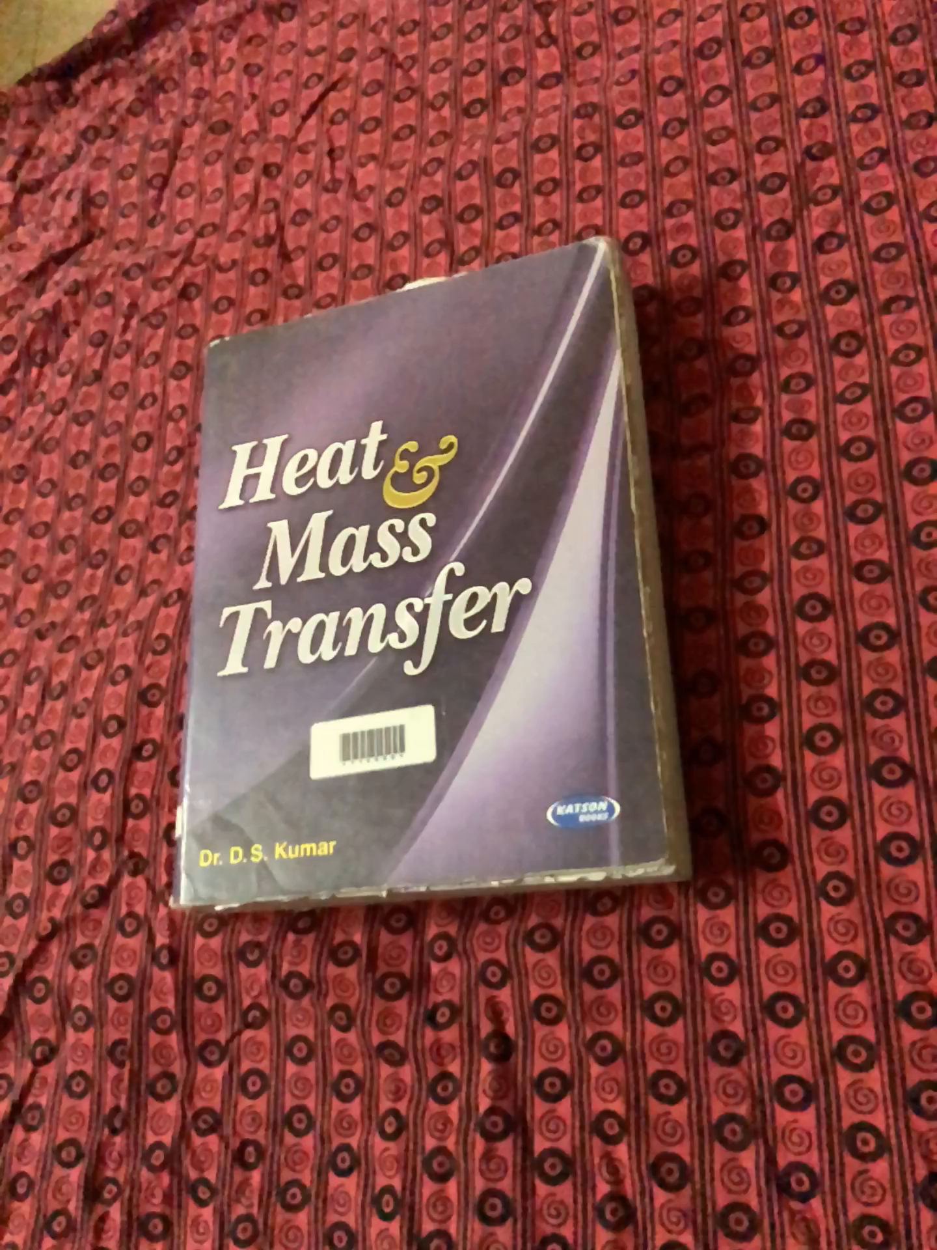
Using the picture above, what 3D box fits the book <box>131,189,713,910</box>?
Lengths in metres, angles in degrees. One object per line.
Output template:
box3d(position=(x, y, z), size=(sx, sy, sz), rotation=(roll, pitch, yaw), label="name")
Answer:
box3d(position=(-0.019, -0.021, 0.343), size=(0.170, 0.040, 0.211), rotation=(-9, 69, 20), label="book")
